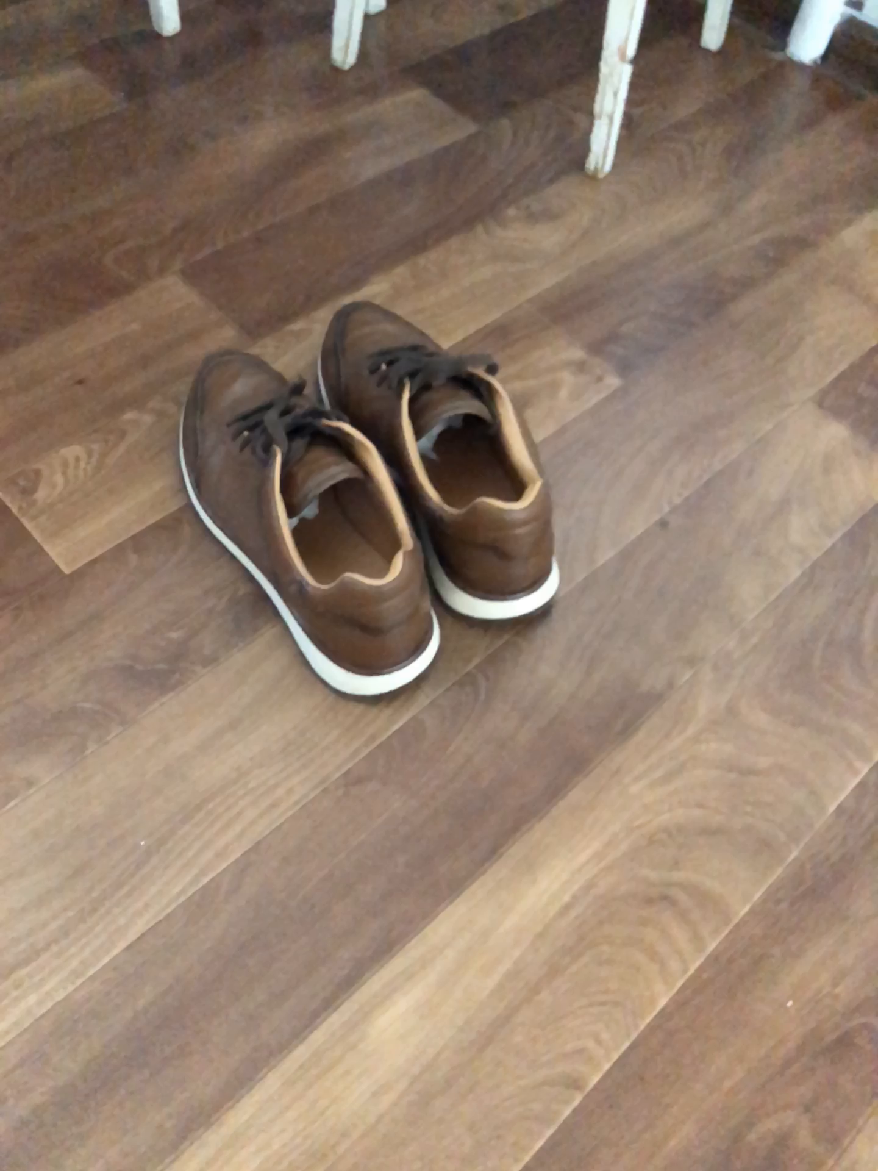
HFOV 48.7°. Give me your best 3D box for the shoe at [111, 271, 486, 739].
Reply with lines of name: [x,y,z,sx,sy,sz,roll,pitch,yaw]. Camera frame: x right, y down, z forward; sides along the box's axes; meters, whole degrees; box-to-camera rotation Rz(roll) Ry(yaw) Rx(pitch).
shoe: [-0.093,-0.059,0.600,0.100,0.090,0.281,-25,63,-20]

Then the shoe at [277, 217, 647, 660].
shoe: [0.001,-0.106,0.630,0.110,0.090,0.281,-21,61,-18]
